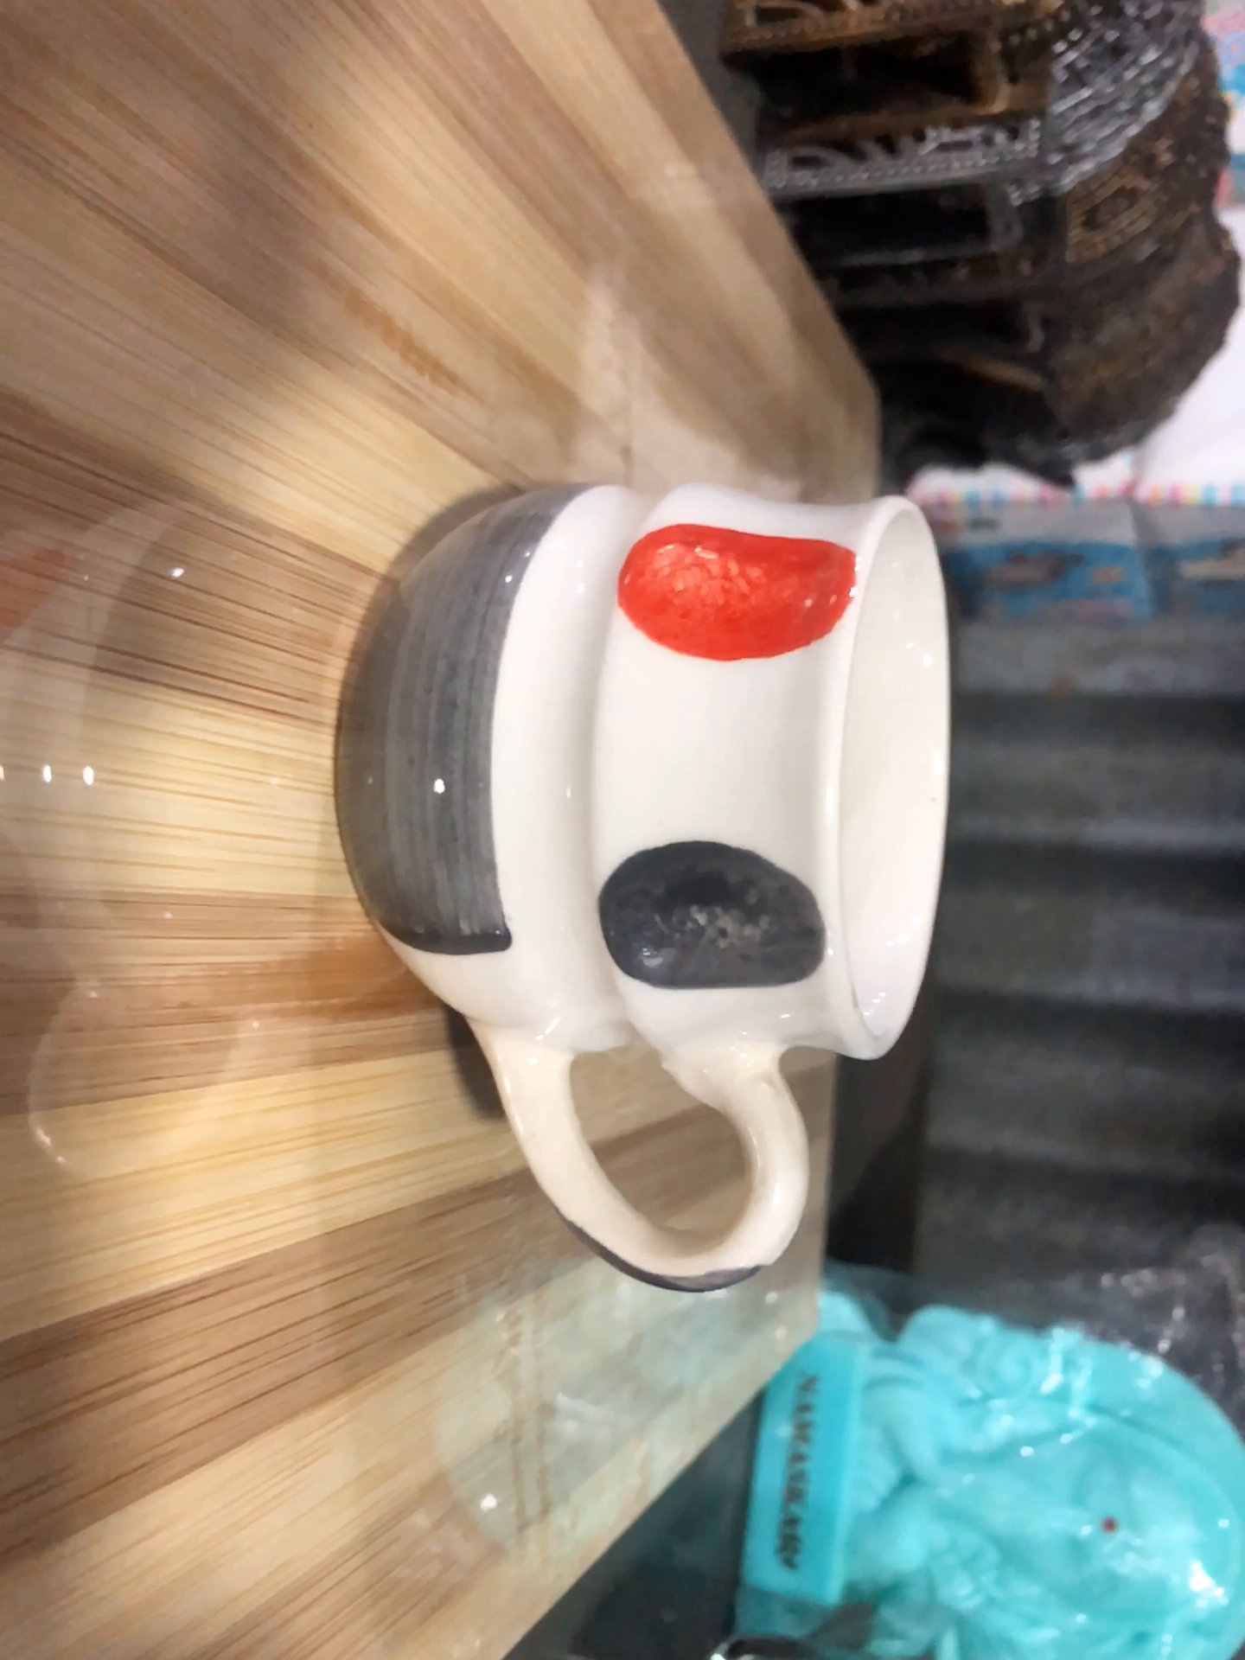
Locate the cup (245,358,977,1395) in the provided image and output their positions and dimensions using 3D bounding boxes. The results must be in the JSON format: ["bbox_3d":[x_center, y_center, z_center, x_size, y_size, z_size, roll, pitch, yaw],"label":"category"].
[{"bbox_3d":[0.003,0.000,0.158,0.060,0.060,0.090,-25,116,-67],"label":"cup"}]
